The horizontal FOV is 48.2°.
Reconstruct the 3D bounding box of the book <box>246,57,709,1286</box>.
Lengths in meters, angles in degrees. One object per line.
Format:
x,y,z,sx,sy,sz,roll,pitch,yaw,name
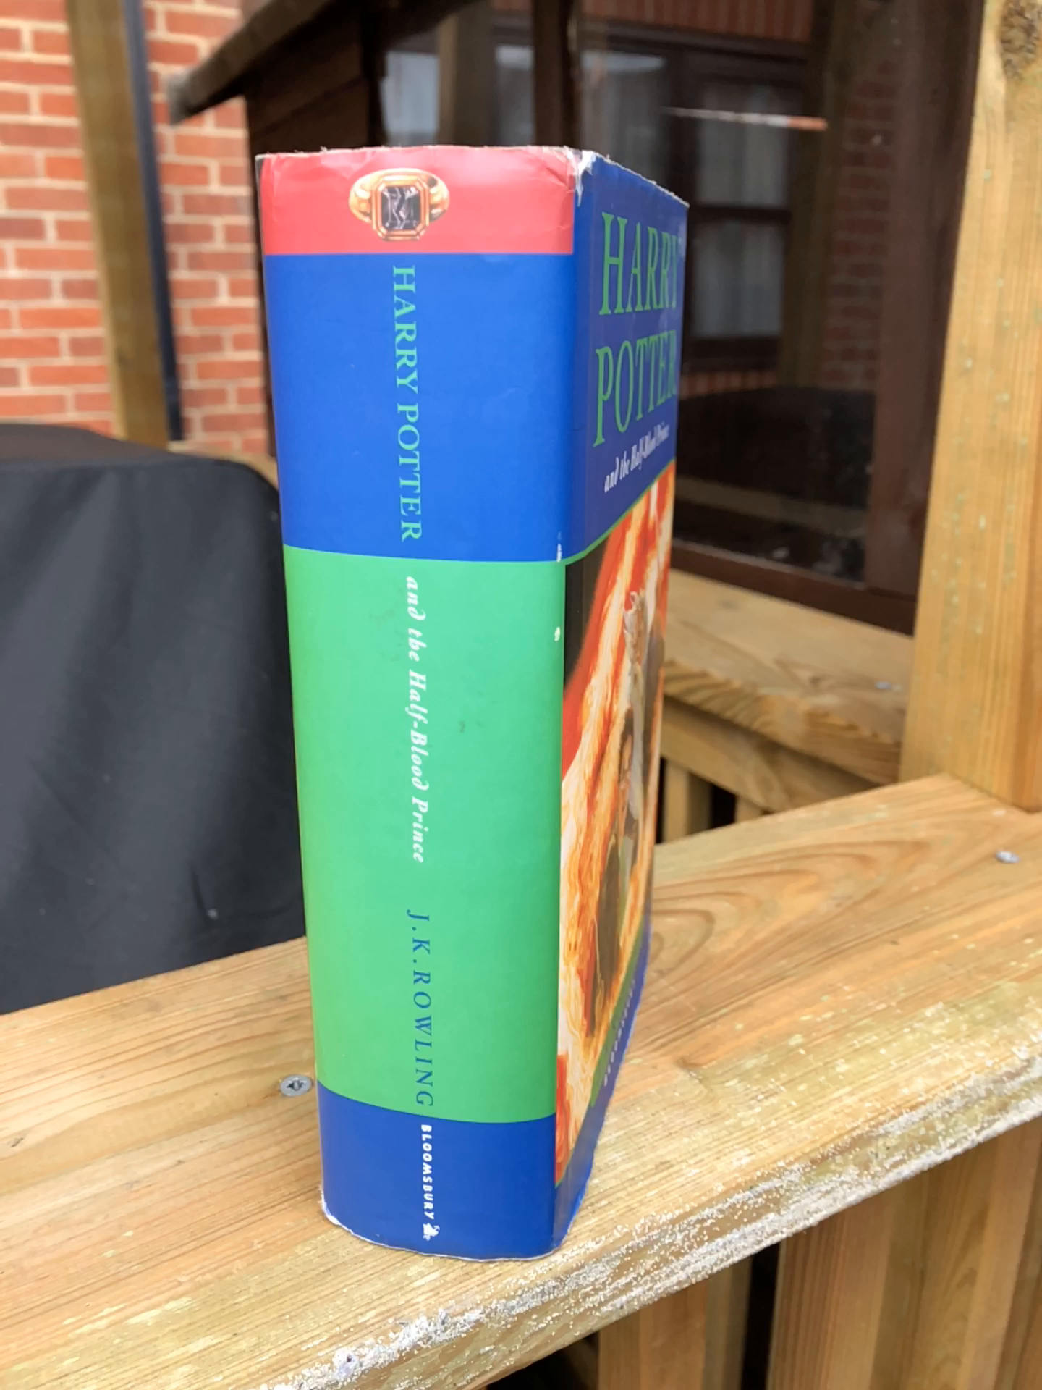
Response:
0.003,-0.011,0.263,0.060,0.209,0.141,3,17,12,book
